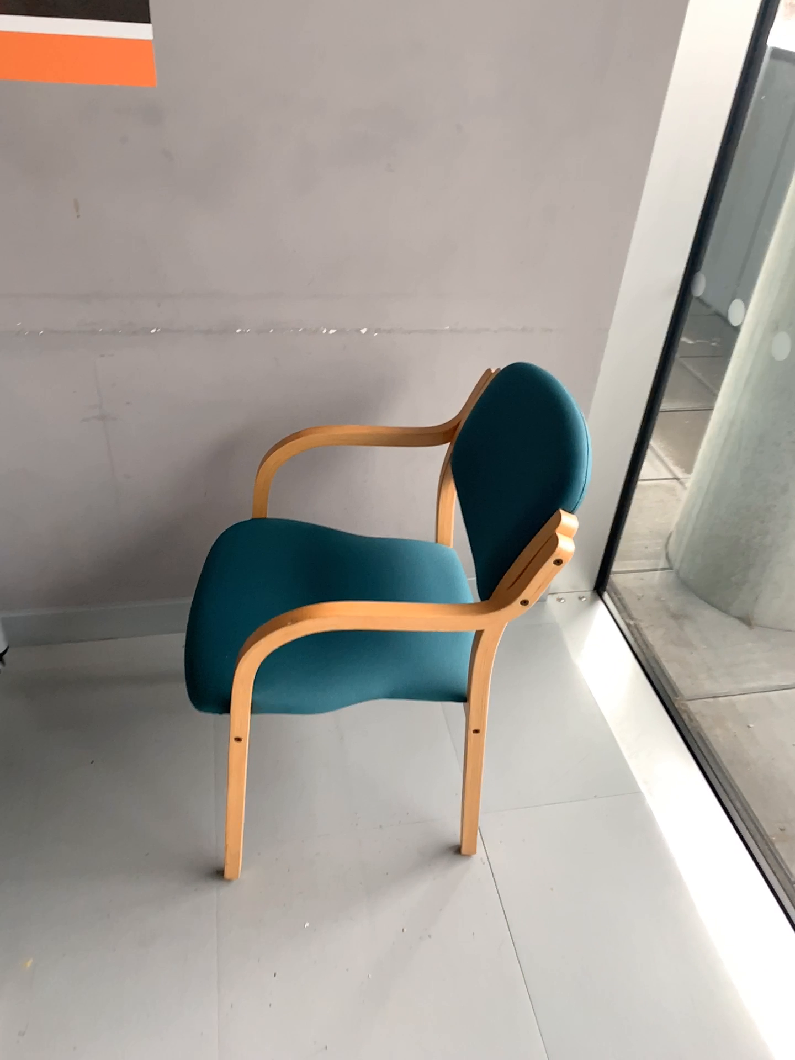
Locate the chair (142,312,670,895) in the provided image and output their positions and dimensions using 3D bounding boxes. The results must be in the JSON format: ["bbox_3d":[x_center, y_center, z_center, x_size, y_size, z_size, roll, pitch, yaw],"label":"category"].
[{"bbox_3d":[-0.053,0.093,1.444,0.640,0.723,0.687,-2,36,-10],"label":"chair"}]
